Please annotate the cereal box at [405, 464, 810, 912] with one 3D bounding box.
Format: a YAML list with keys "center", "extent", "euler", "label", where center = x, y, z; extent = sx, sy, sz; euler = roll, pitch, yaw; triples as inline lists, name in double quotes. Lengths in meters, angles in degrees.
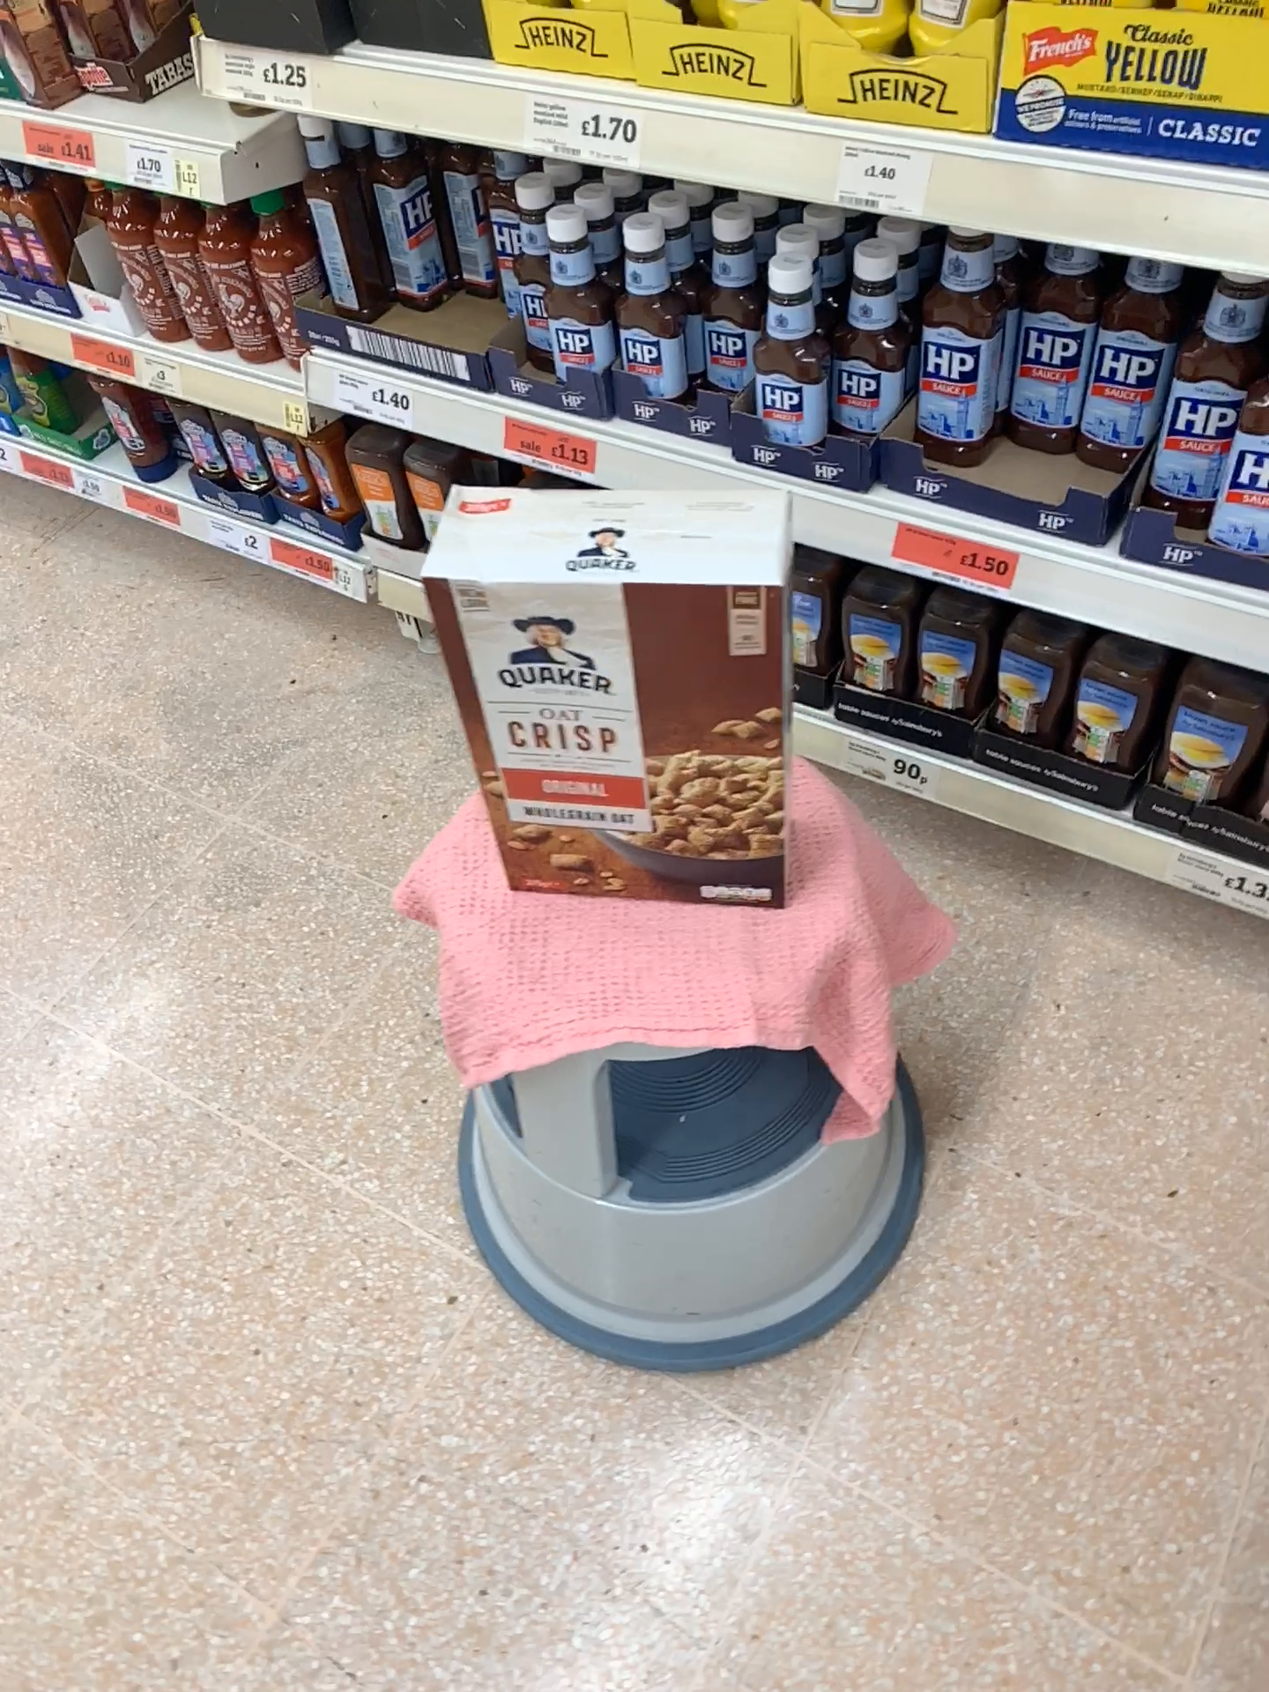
- center: [0.003, -0.081, 0.748]
  extent: [0.190, 0.268, 0.091]
  euler: [3, 53, 10]
  label: "cereal box"
